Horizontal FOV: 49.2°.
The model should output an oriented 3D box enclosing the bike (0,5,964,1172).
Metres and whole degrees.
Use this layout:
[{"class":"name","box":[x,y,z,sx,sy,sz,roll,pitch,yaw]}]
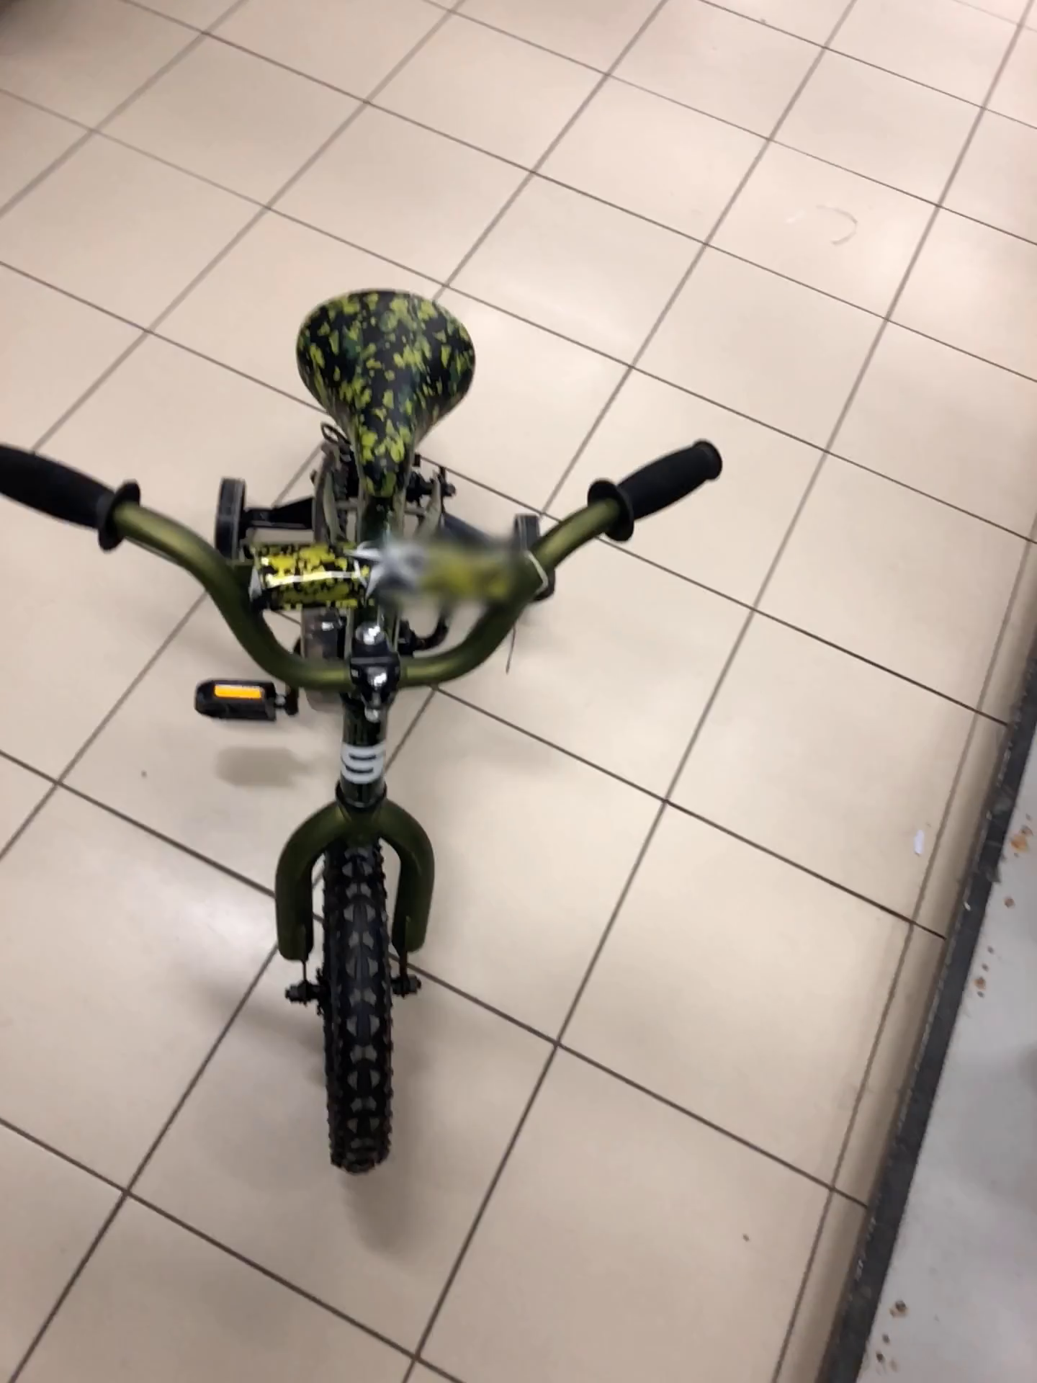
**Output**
[{"class":"bike","box":[-0.108,-0.061,0.965,0.532,0.557,0.819,1,59,-7]}]
